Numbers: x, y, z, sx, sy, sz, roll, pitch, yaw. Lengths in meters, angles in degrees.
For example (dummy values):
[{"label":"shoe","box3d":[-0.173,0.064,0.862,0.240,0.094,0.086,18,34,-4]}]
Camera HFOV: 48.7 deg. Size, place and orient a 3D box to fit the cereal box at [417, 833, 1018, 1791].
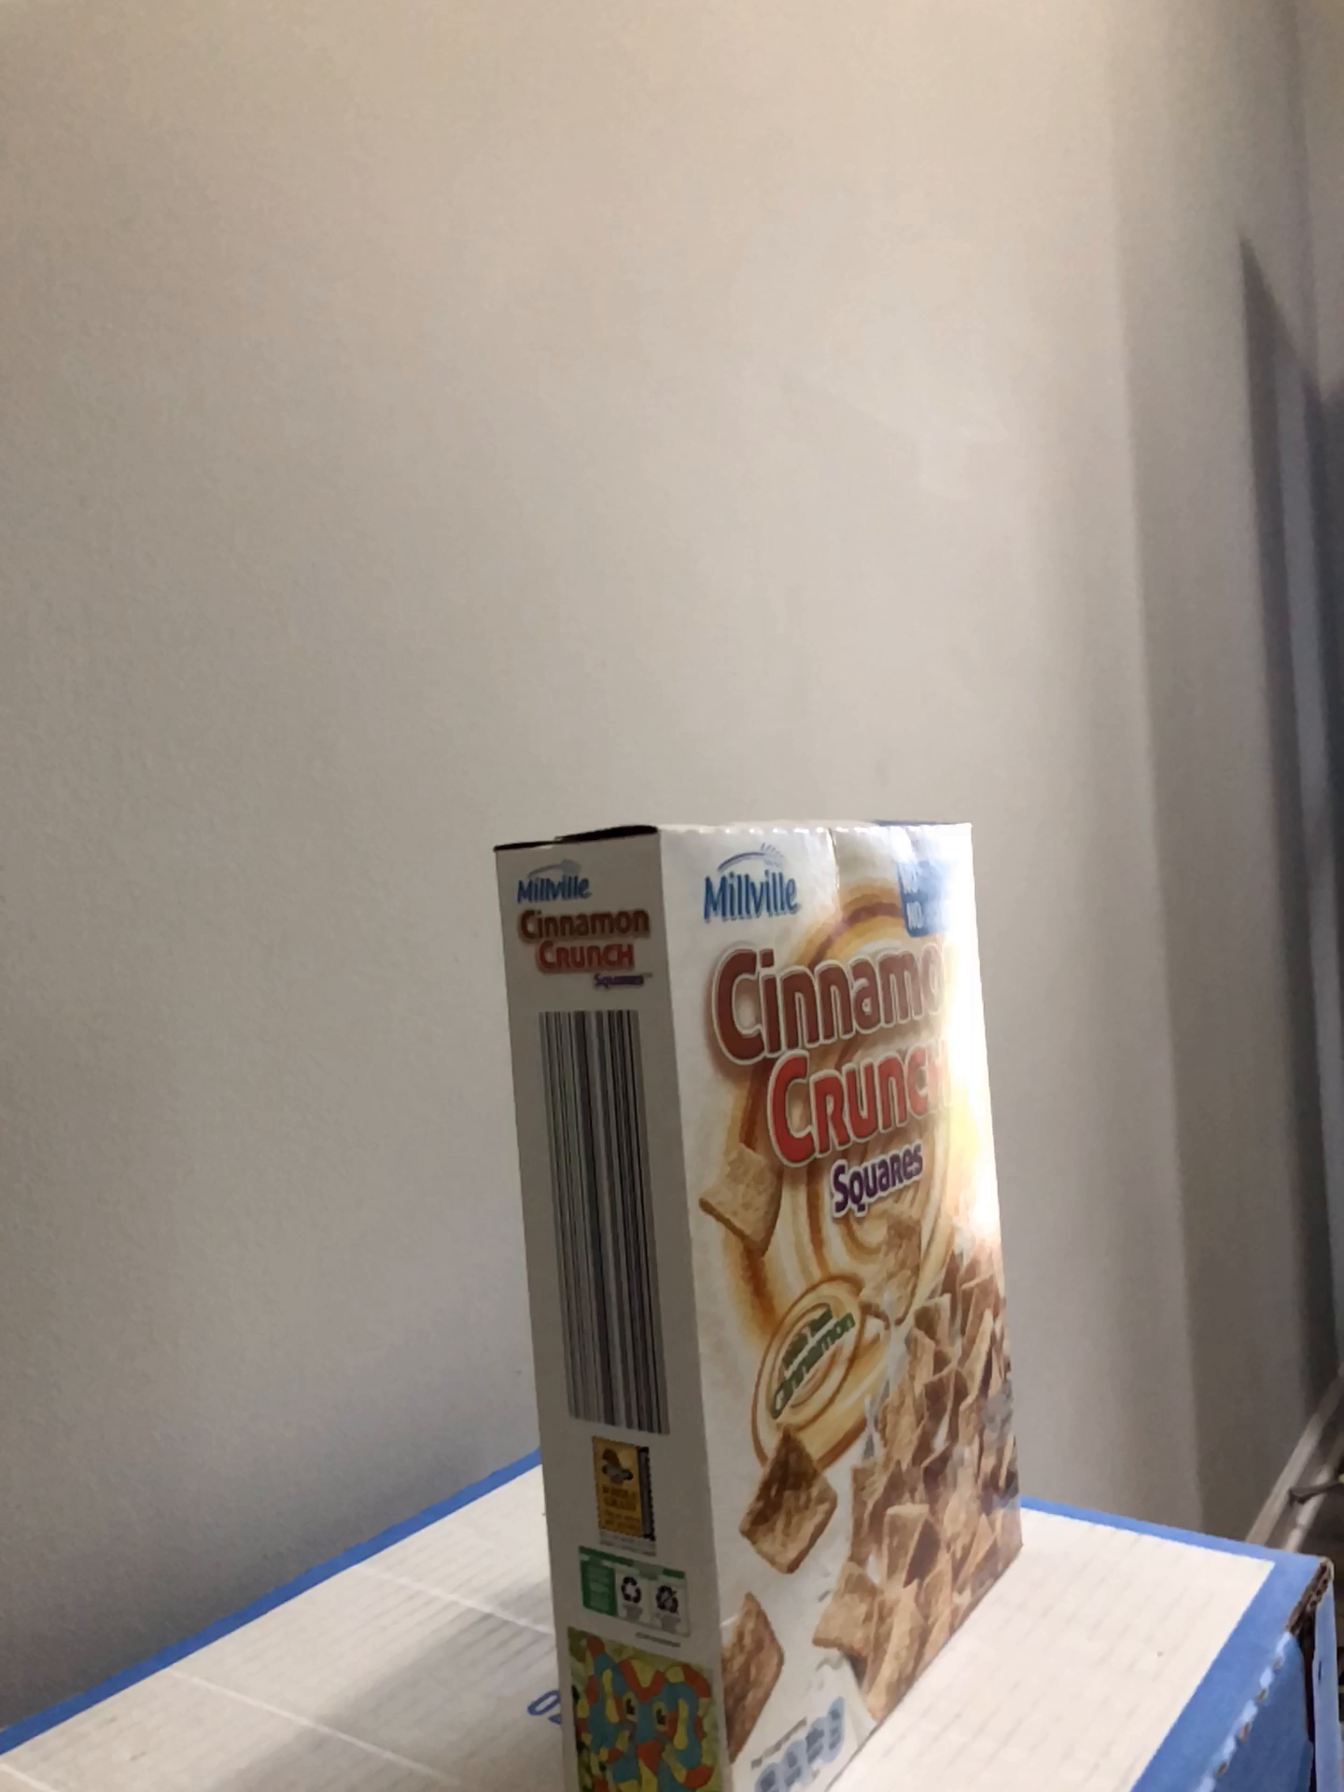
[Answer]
[{"label":"cereal box","box3d":[0.028,0.109,0.456,0.070,0.250,0.210,-4,0,33]}]
